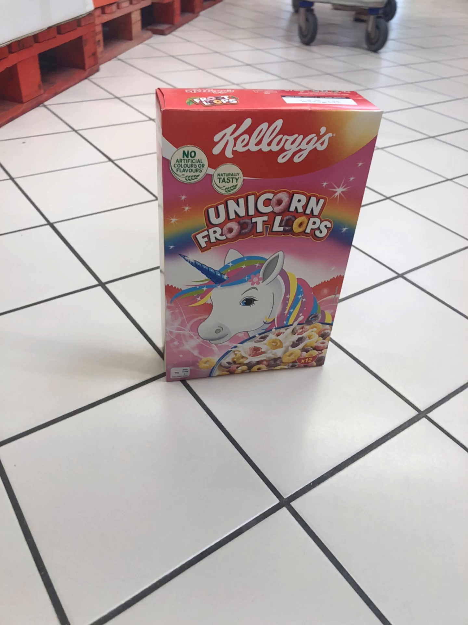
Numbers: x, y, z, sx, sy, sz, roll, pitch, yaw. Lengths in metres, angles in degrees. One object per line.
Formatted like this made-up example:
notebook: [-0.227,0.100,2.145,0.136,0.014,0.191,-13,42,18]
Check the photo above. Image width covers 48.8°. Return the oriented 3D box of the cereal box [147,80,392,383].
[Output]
cereal box: [0.018,-0.069,0.532,0.200,0.298,0.070,-4,38,-12]
